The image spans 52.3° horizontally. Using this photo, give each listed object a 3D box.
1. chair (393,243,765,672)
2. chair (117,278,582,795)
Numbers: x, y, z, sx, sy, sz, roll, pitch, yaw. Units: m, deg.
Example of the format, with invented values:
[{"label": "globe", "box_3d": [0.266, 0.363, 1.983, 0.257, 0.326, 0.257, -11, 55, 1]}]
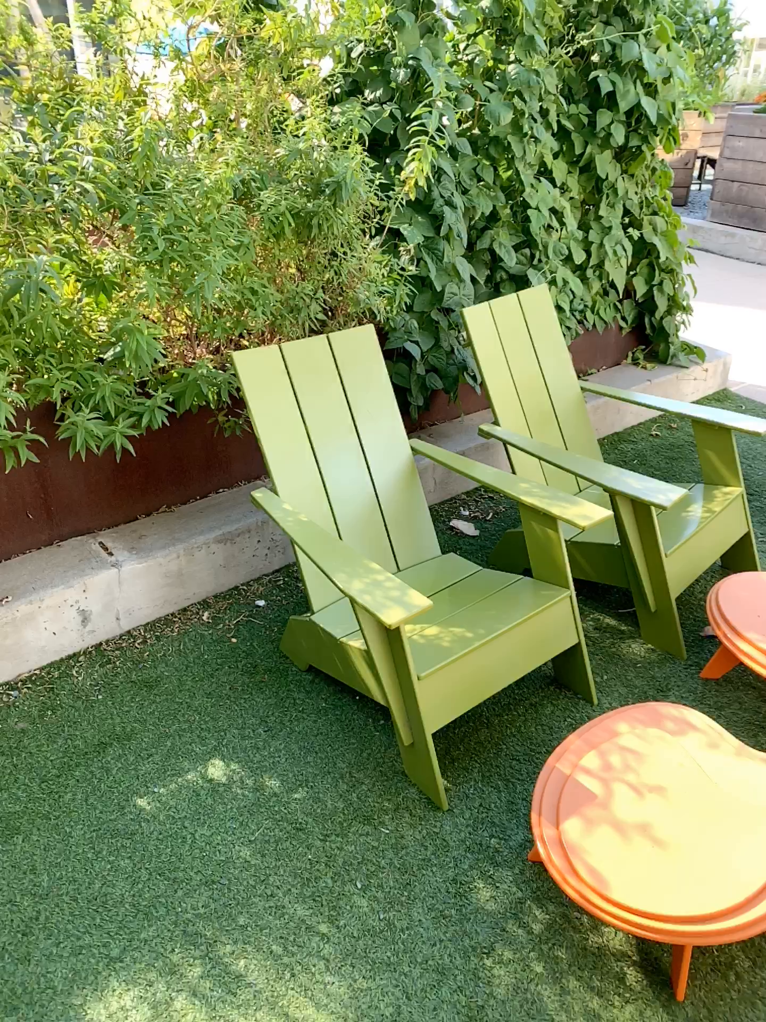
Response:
[{"label": "chair", "box_3d": [0.667, -0.211, 2.493, 0.731, 1.016, 0.822, -25, 21, -34]}, {"label": "chair", "box_3d": [-0.083, -0.020, 2.121, 0.771, 1.006, 0.822, -21, 20, -33]}]
